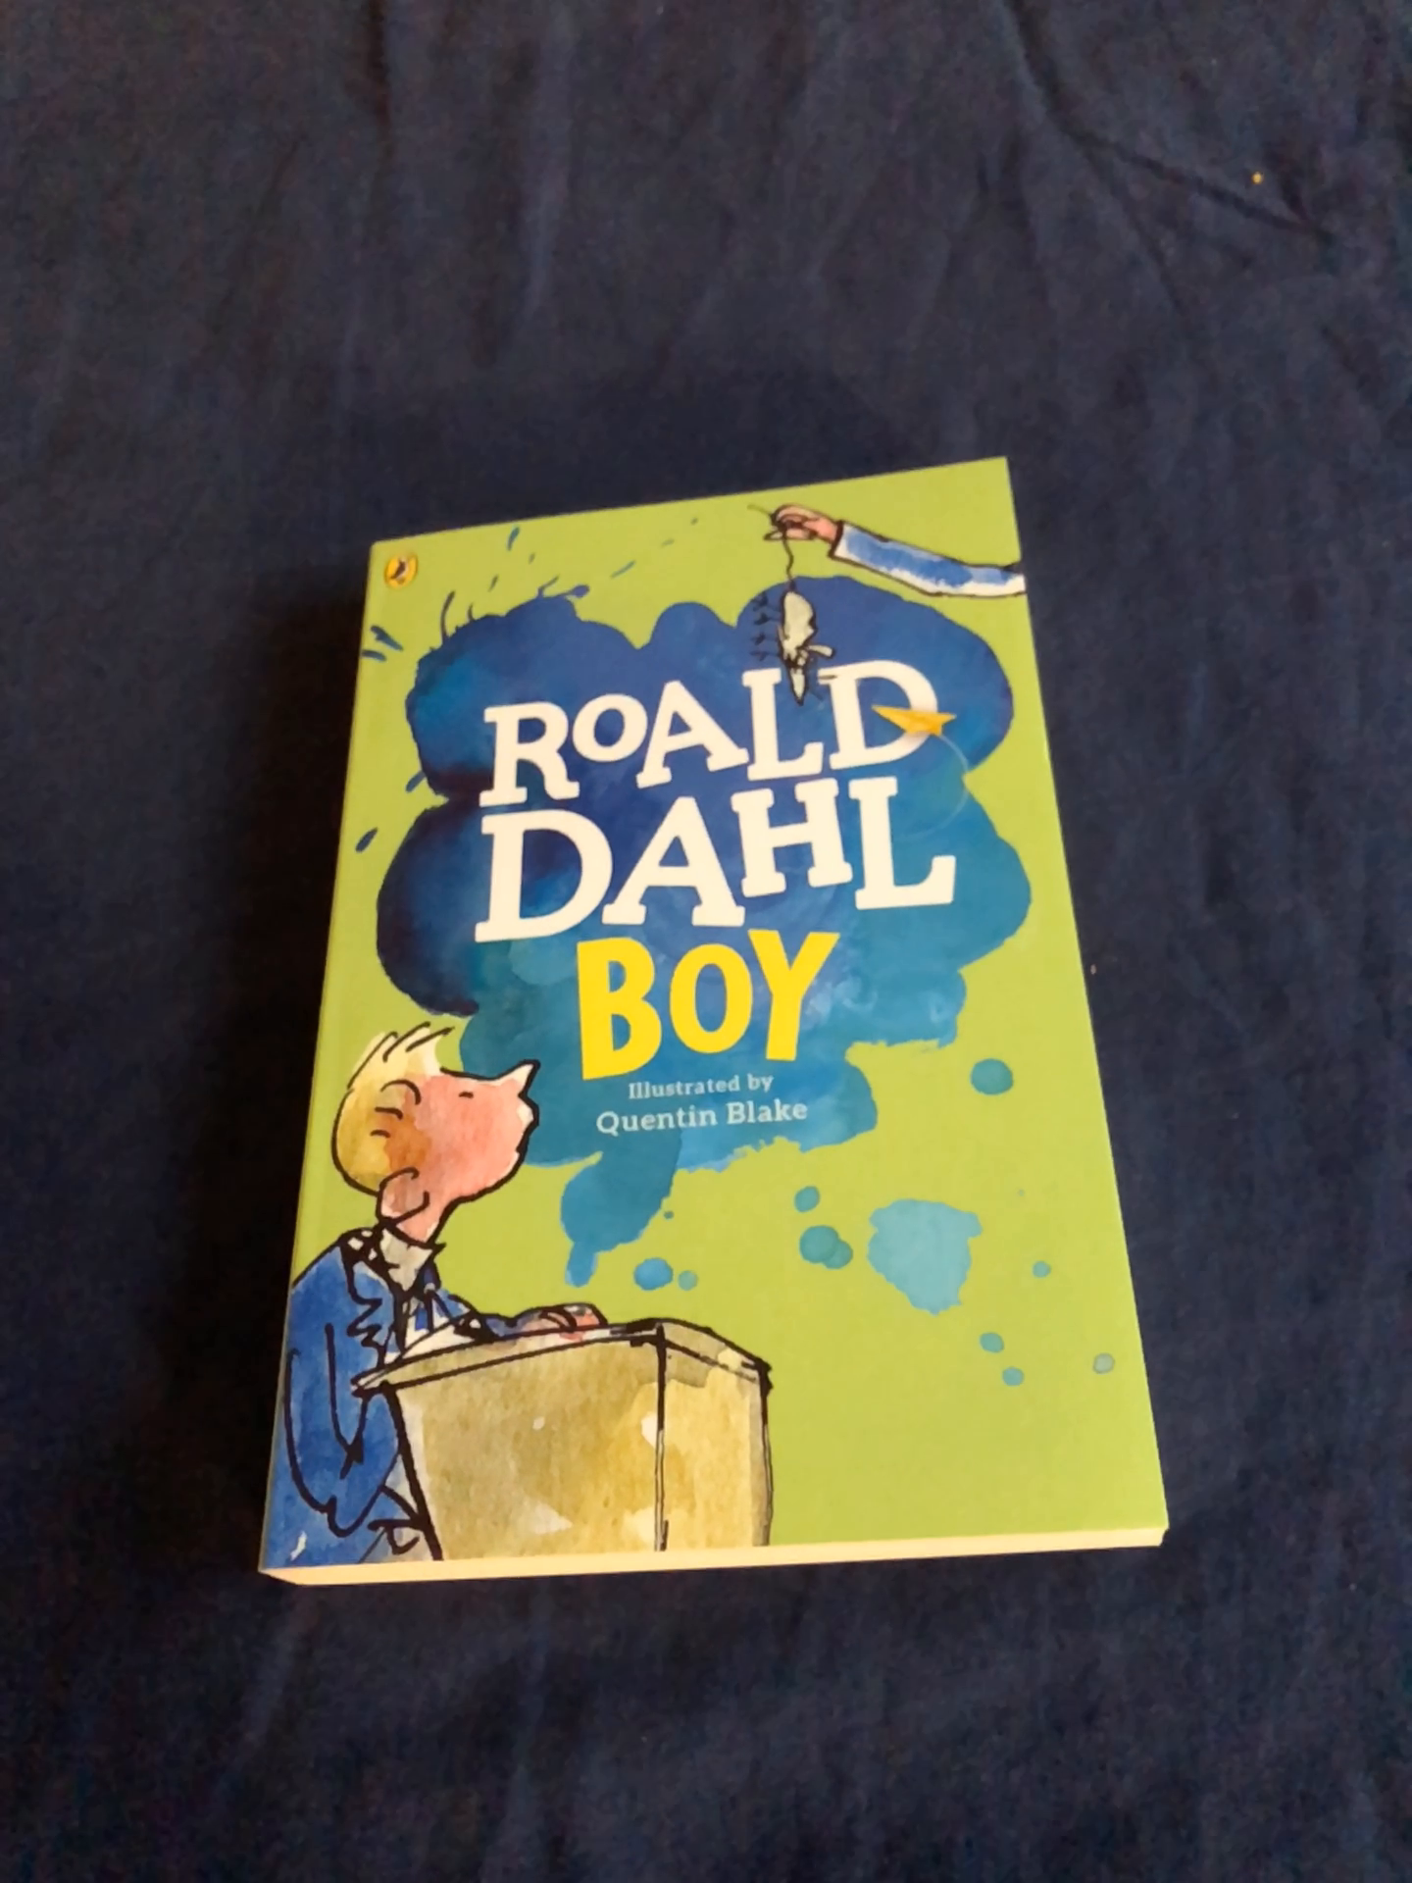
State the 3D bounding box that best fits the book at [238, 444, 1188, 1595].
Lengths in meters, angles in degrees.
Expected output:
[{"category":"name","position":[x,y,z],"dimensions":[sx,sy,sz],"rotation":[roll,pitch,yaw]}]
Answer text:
[{"category":"book","position":[-0.001,0.004,0.262],"dimensions":[0.125,0.027,0.189],"rotation":[-4,62,6]}]
